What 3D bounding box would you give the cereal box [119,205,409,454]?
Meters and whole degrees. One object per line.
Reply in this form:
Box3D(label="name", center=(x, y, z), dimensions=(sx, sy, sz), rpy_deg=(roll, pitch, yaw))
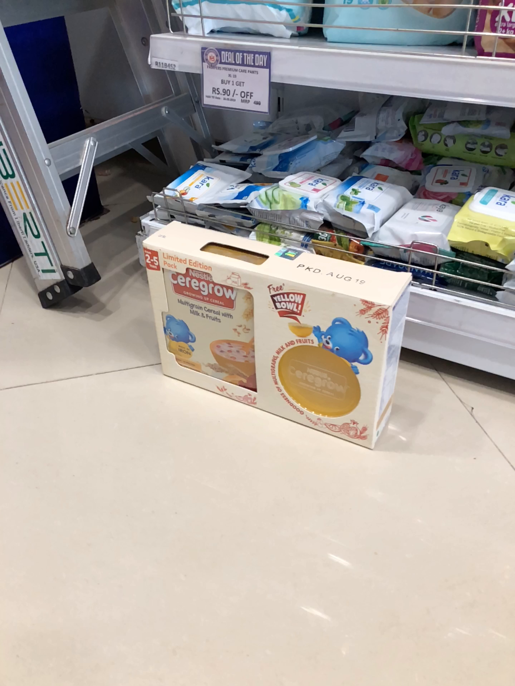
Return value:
Box3D(label="cereal box", center=(0.000, -0.021, 0.657), dimensions=(0.310, 0.209, 0.070), rpy_deg=(17, 41, 24))
